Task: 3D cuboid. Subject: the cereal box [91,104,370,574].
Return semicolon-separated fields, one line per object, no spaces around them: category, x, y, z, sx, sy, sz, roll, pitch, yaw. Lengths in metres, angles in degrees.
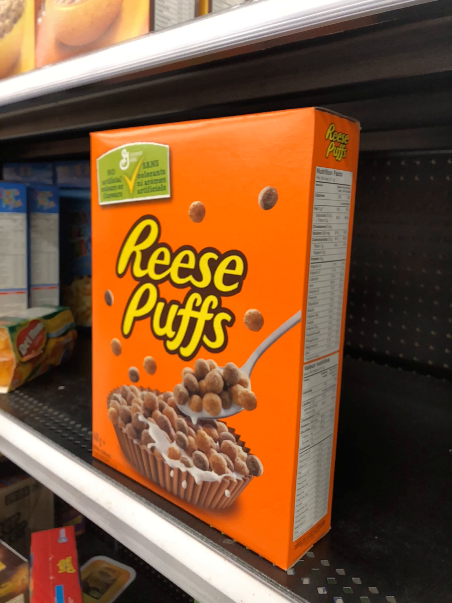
cereal box;-0.016;0.016;0.437;0.240;0.319;0.070;10;12;40
